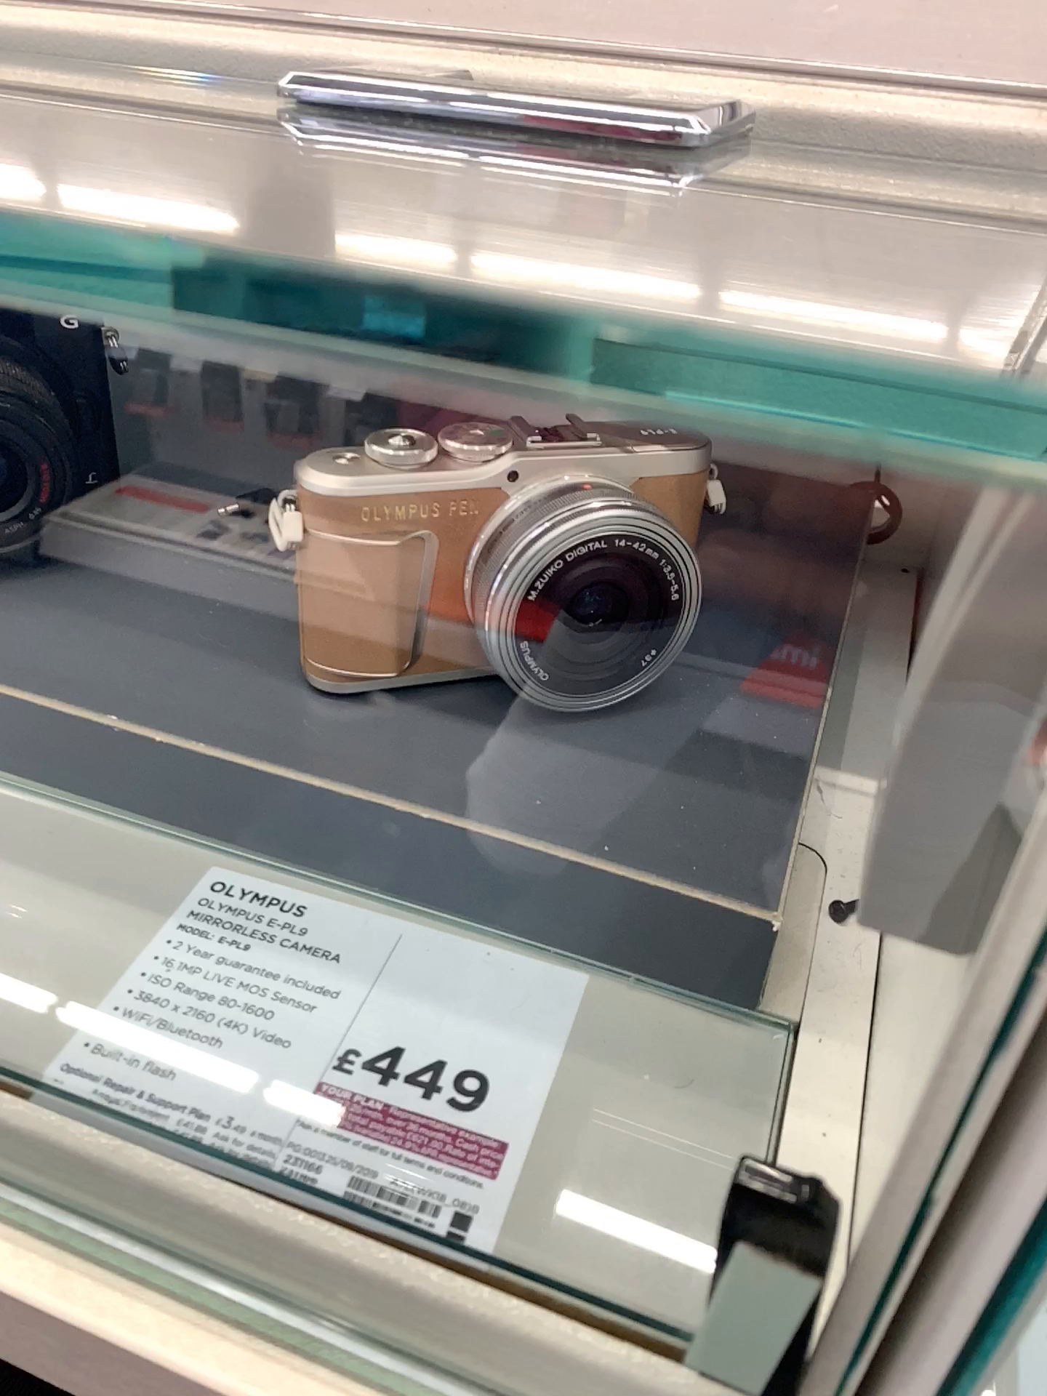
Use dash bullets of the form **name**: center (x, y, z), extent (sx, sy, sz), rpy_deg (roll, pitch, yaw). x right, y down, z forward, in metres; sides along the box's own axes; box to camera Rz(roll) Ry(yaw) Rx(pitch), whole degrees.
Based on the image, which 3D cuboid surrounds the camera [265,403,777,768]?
- **camera**: center (-0.004, -0.035, 0.298), extent (0.120, 0.069, 0.061), rpy_deg (-7, 35, -18)
